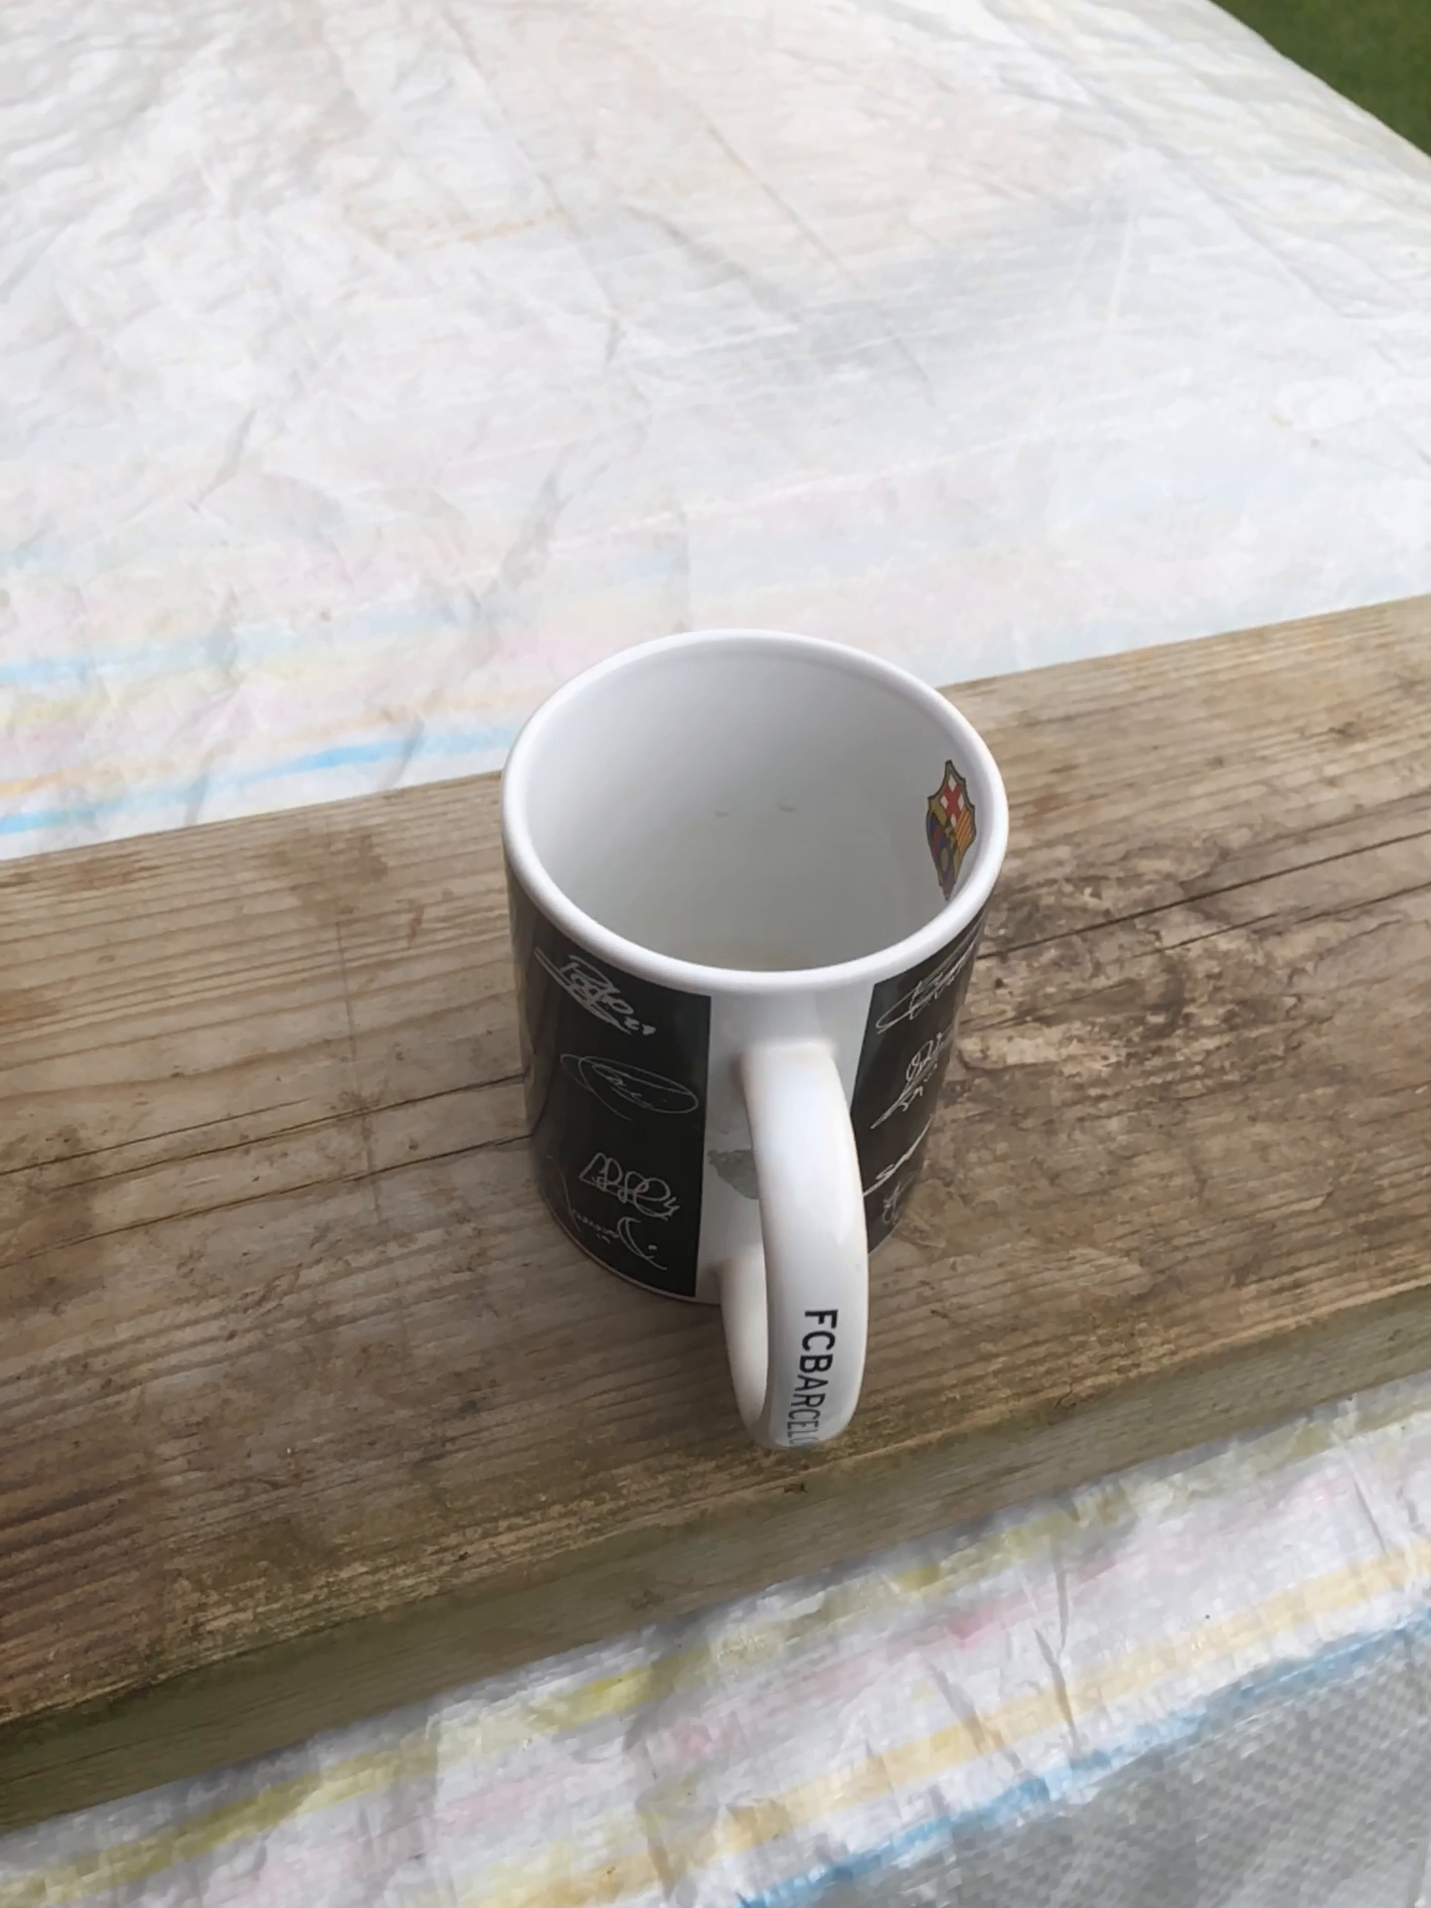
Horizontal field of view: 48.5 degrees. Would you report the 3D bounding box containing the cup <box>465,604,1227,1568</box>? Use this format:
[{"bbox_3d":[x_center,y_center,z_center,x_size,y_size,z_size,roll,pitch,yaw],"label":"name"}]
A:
[{"bbox_3d":[0.008,0.018,0.273,0.090,0.089,0.131,-4,50,-10],"label":"cup"}]
